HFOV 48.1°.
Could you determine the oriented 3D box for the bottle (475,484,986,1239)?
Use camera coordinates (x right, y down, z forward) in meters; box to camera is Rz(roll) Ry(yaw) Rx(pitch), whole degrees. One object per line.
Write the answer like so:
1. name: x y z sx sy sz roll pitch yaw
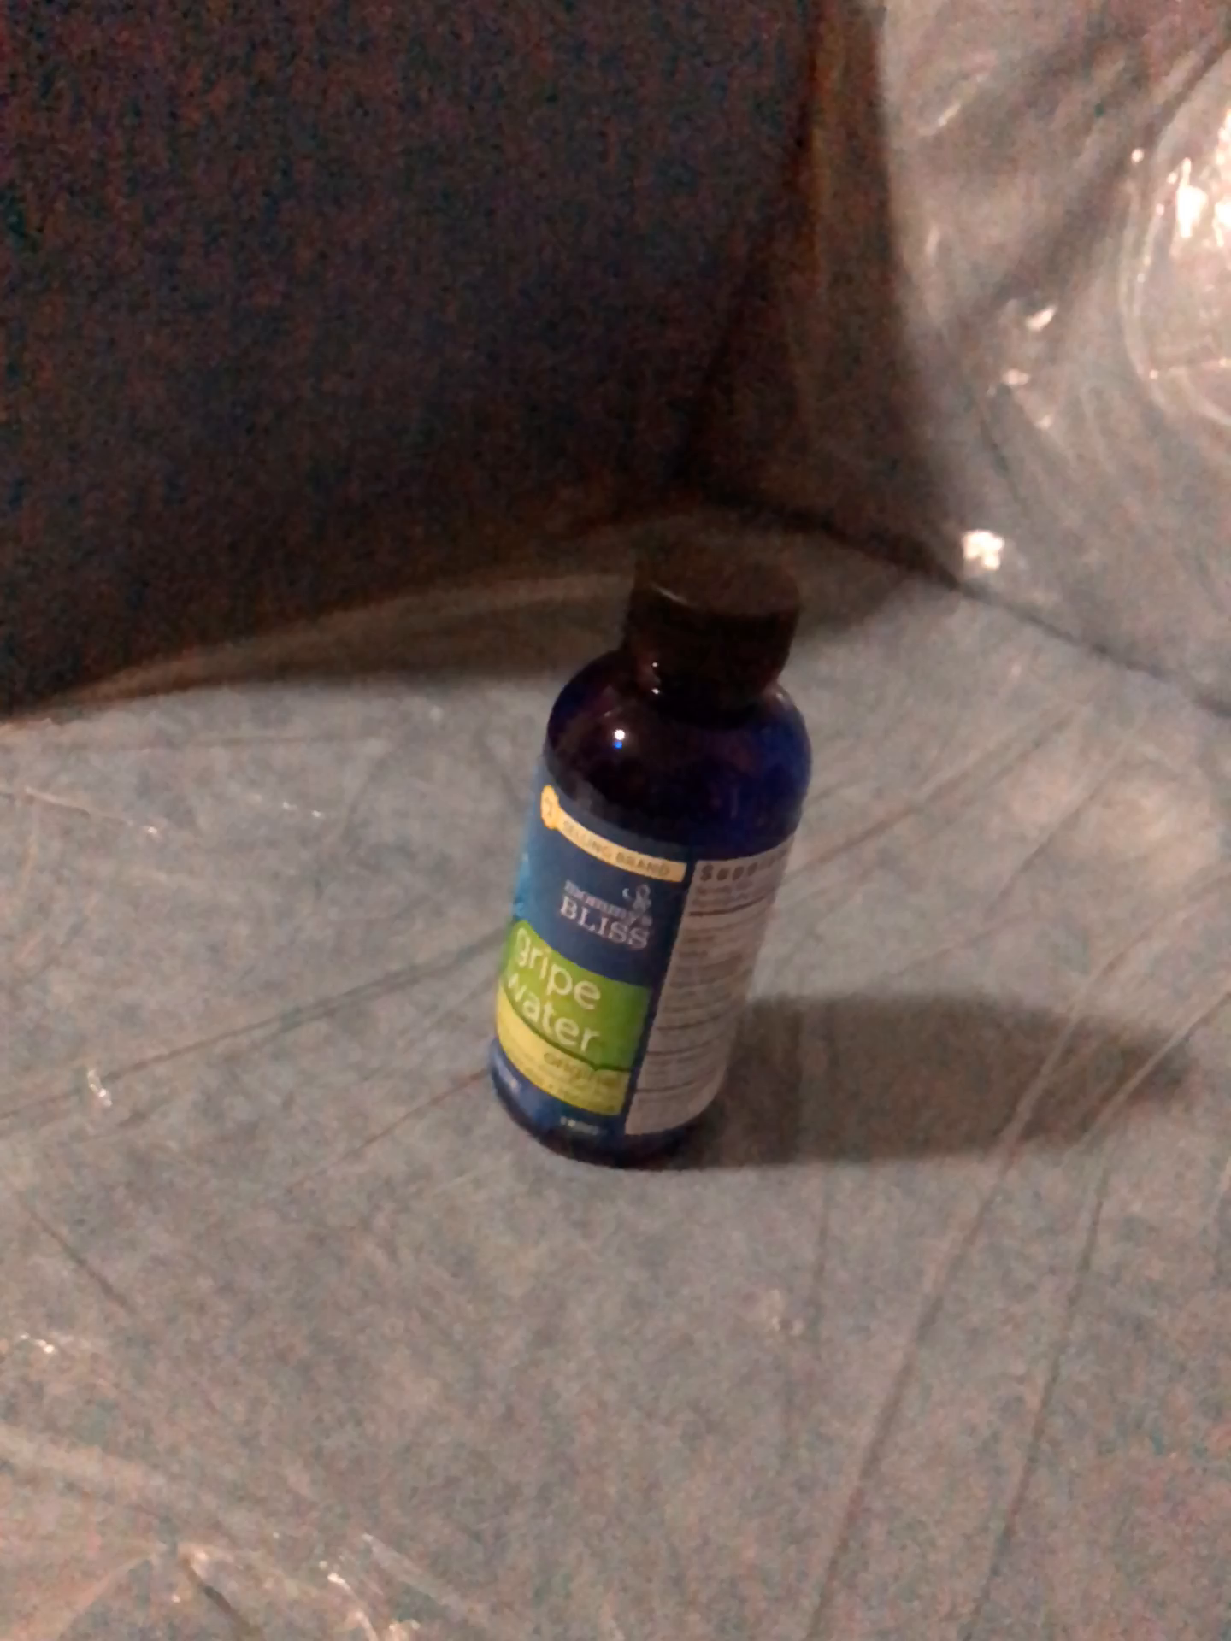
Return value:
1. bottle: 0.013 0.009 0.246 0.050 0.120 0.050 6 35 -5
